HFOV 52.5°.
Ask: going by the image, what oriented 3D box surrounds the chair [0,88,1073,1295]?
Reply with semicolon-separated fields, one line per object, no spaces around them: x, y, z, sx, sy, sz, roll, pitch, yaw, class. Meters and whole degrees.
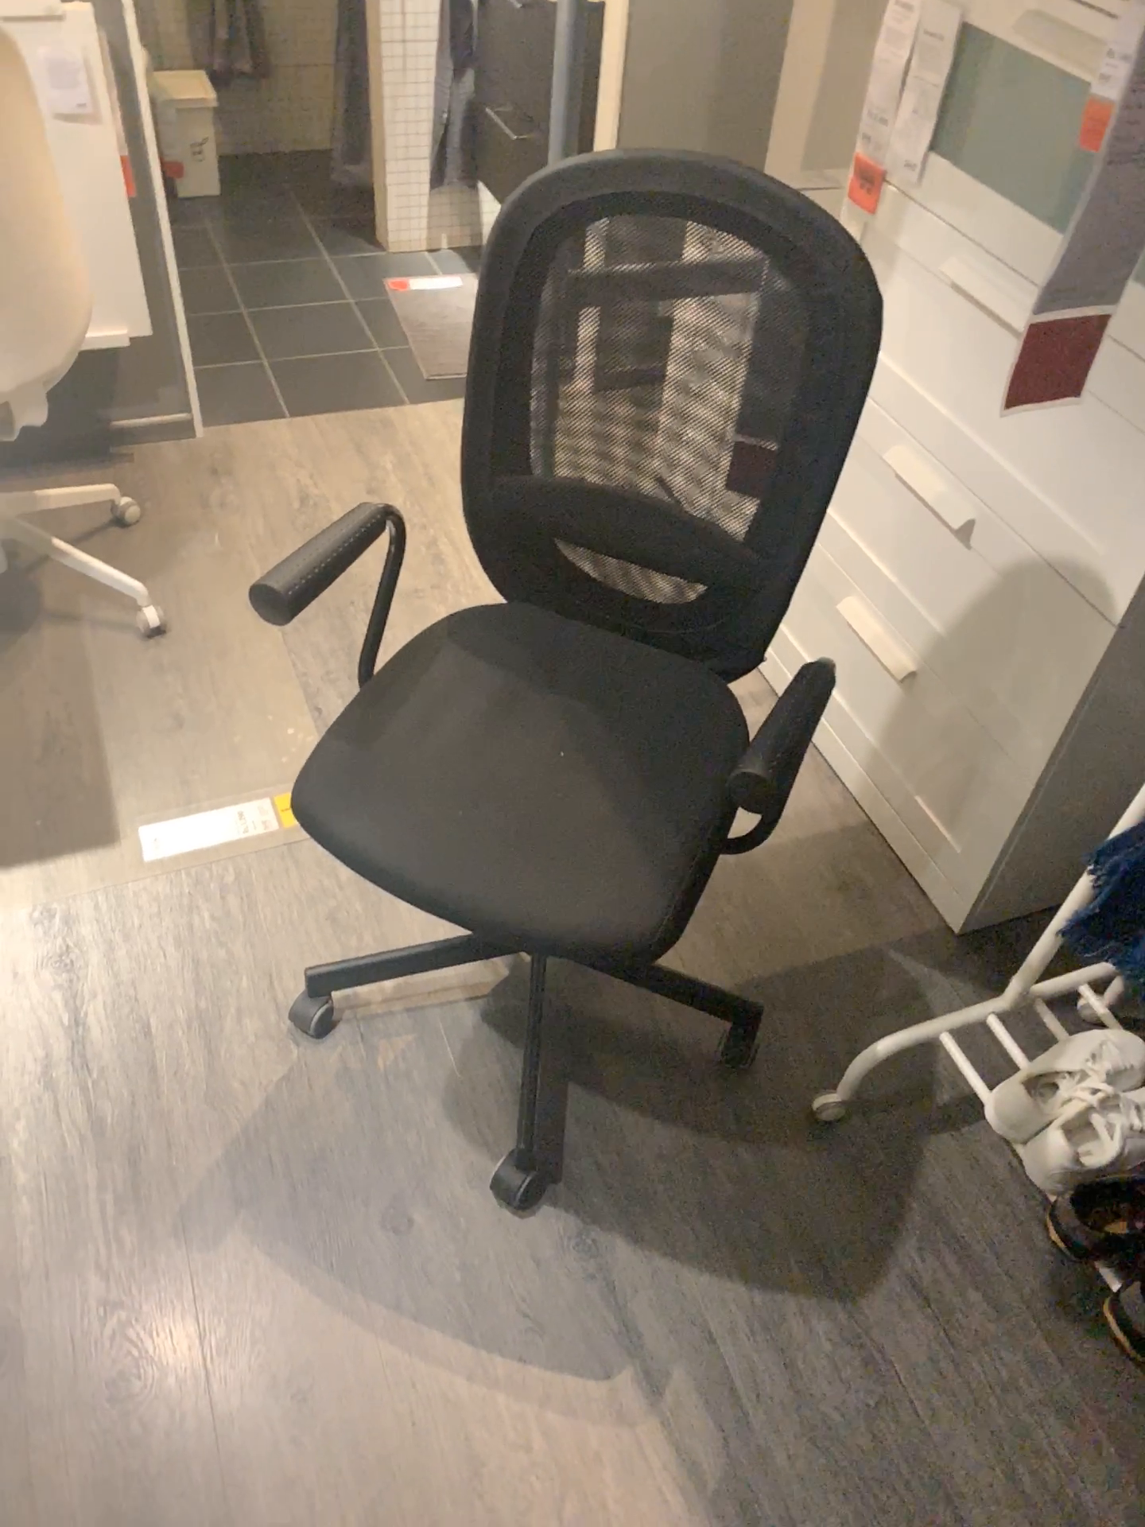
-0.002;-0.061;1.289;0.641;0.976;0.682;21;47;15;chair
